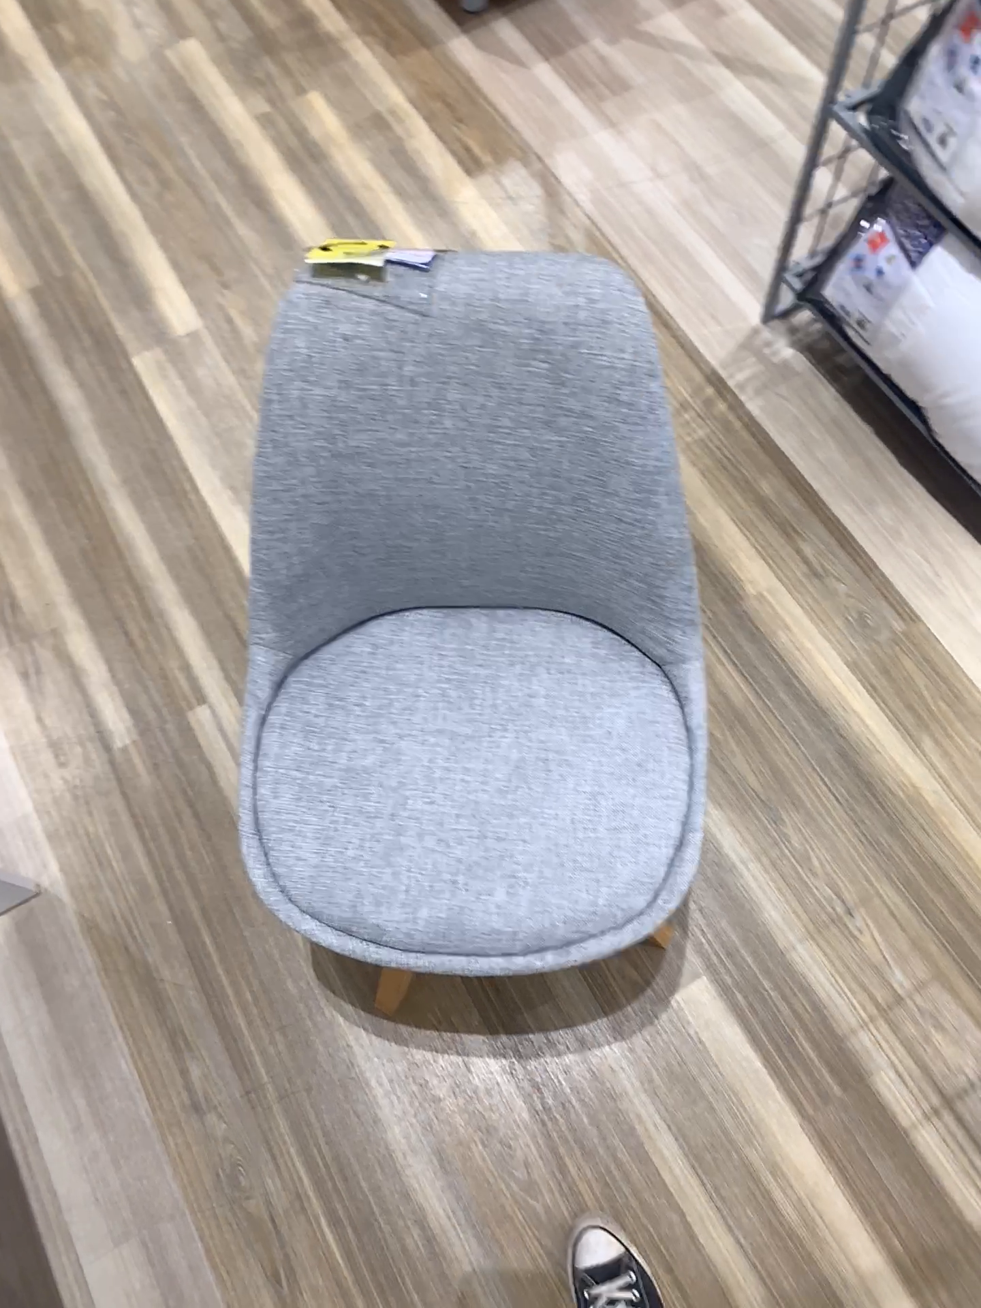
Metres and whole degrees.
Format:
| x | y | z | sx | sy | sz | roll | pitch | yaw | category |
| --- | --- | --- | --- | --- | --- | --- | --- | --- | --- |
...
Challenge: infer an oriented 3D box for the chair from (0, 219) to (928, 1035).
| x | y | z | sx | sy | sz | roll | pitch | yaw | category |
| --- | --- | --- | --- | --- | --- | --- | --- | --- | --- |
| 0.003 | 0.090 | 1.027 | 0.513 | 0.858 | 0.516 | 1 | 67 | 4 | chair |
